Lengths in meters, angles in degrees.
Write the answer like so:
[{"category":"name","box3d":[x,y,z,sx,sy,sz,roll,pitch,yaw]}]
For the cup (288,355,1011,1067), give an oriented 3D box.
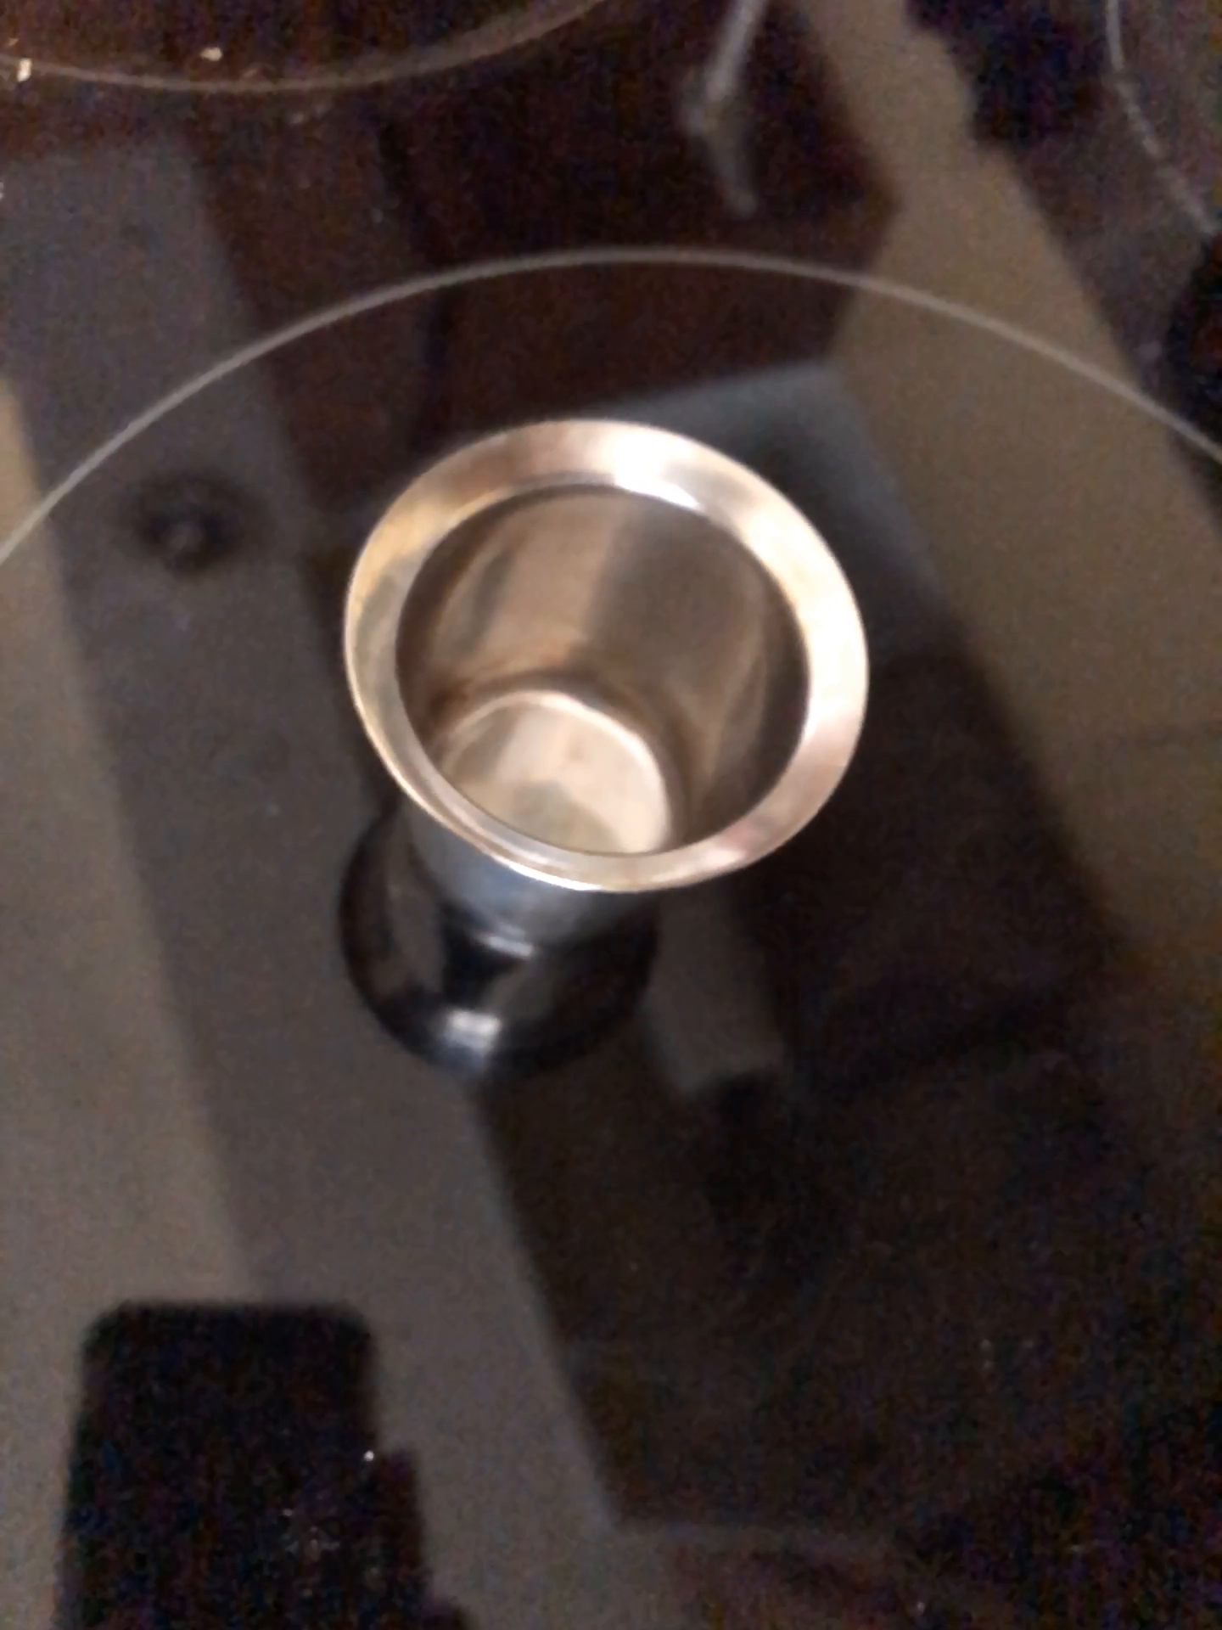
[{"category":"cup","box3d":[0.000,-0.008,0.175,0.073,0.056,0.066,4,67,-10]}]
